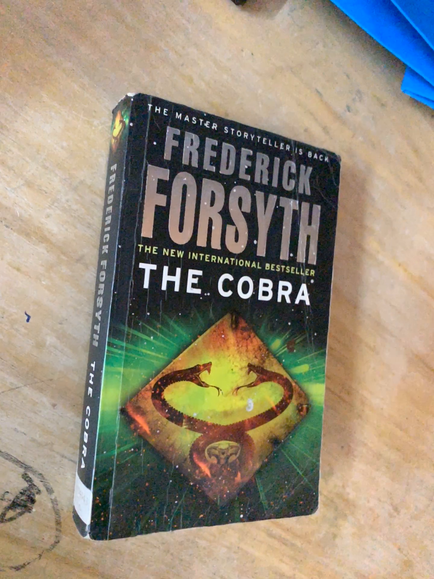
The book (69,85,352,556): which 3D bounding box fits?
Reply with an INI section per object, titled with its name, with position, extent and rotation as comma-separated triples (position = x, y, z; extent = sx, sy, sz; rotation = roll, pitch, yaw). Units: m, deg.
[book]
position = 0.000, 0.013, 0.195
extent = 0.100, 0.040, 0.160
rotation = 6, 87, -26
